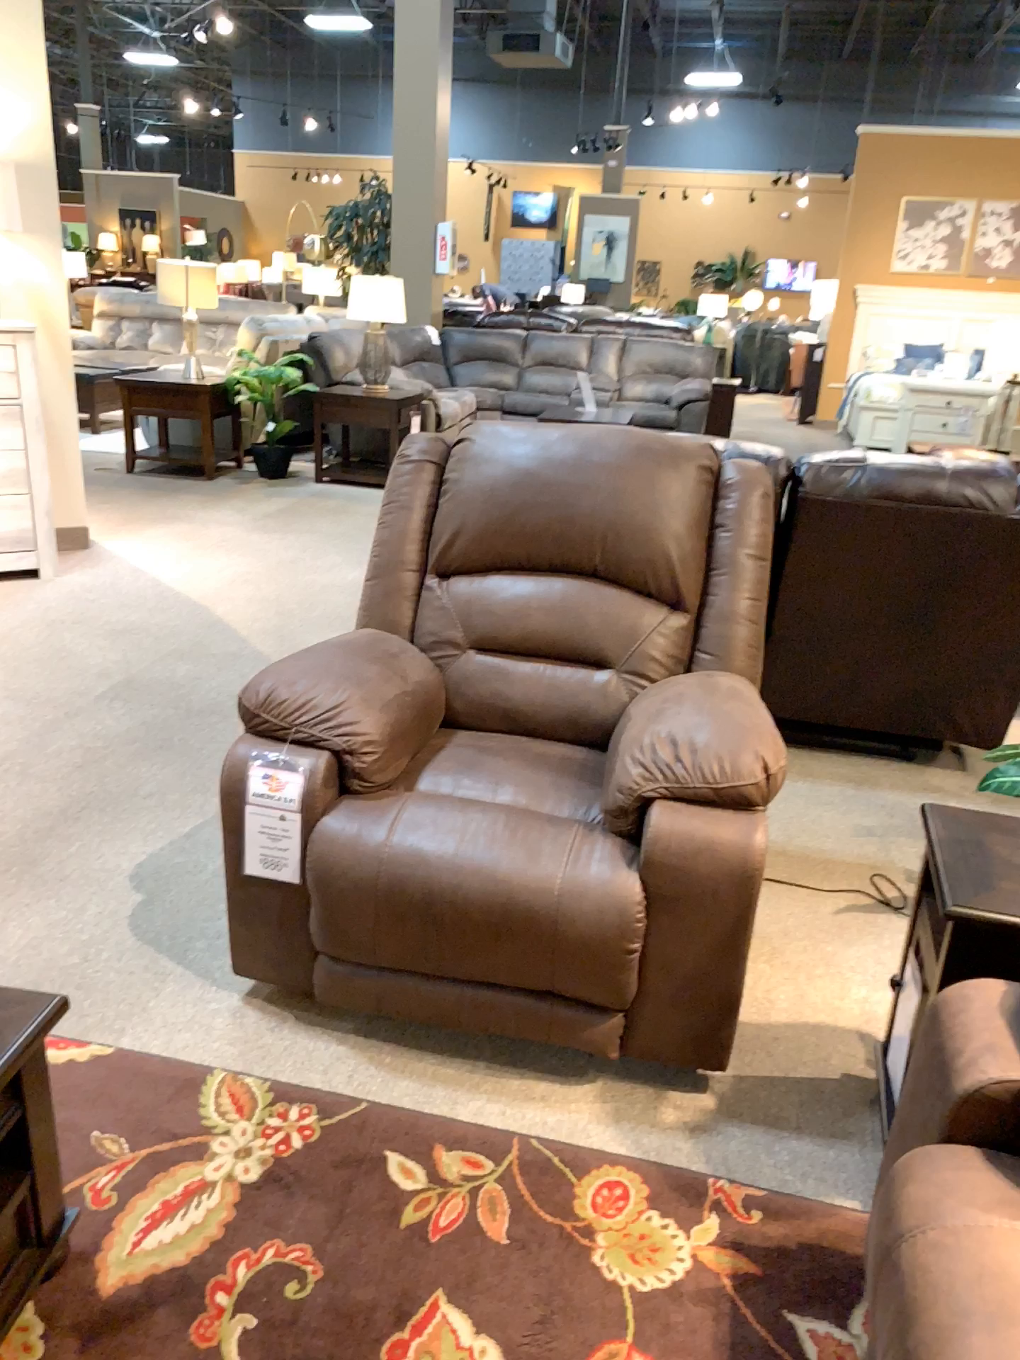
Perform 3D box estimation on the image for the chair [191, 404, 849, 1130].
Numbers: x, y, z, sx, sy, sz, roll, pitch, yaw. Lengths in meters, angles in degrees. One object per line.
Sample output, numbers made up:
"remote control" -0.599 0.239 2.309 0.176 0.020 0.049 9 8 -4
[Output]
"chair" 0.085 0.039 2.192 1.001 1.027 1.069 8 21 12
